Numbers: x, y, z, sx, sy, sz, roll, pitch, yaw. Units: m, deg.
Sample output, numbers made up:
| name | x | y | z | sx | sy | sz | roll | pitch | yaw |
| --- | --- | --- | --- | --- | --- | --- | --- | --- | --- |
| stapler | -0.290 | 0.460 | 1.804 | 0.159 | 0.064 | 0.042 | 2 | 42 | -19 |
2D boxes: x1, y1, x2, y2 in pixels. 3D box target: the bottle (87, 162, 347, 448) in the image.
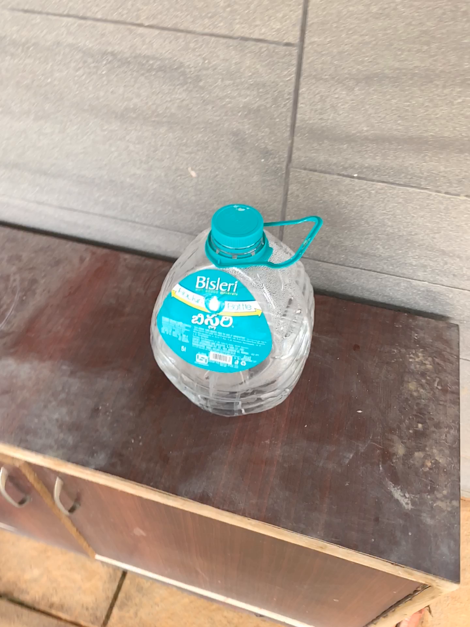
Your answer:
| name | x | y | z | sx | sy | sz | roll | pitch | yaw |
| --- | --- | --- | --- | --- | --- | --- | --- | --- | --- |
| bottle | -0.008 | -0.007 | 0.541 | 0.200 | 0.219 | 0.180 | 13 | 50 | 11 |

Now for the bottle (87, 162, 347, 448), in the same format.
| name | x | y | z | sx | sy | sz | roll | pitch | yaw |
| --- | --- | --- | --- | --- | --- | --- | --- | --- | --- |
| bottle | -0.008 | -0.007 | 0.541 | 0.200 | 0.219 | 0.180 | 13 | 50 | 11 |
